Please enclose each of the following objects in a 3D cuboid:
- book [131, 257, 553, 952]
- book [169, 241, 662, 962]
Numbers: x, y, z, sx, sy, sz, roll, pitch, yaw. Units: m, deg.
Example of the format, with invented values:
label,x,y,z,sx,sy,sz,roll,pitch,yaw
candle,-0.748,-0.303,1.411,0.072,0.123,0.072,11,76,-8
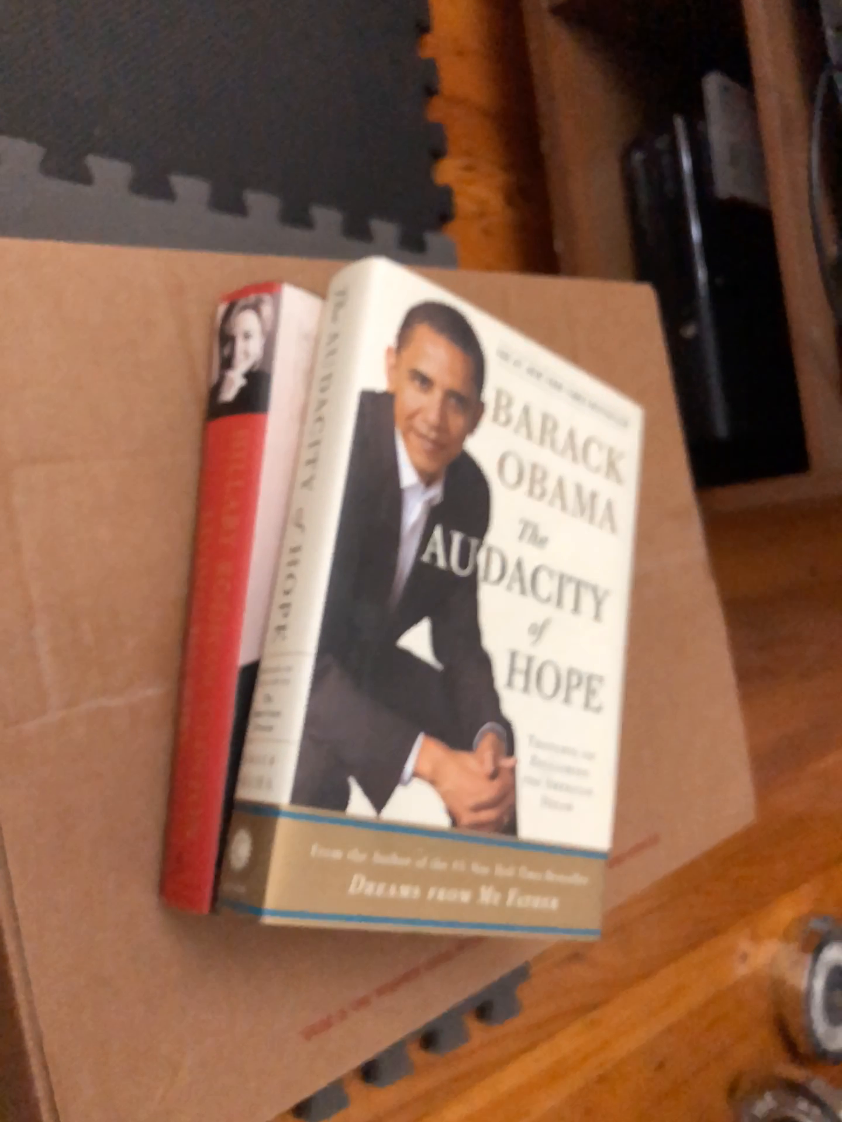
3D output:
label,x,y,z,sx,sy,sz,roll,pitch,yaw
book,-0.020,0.023,0.405,0.171,0.040,0.250,13,75,-38
book,0.017,0.027,0.395,0.191,0.040,0.250,20,70,-36
